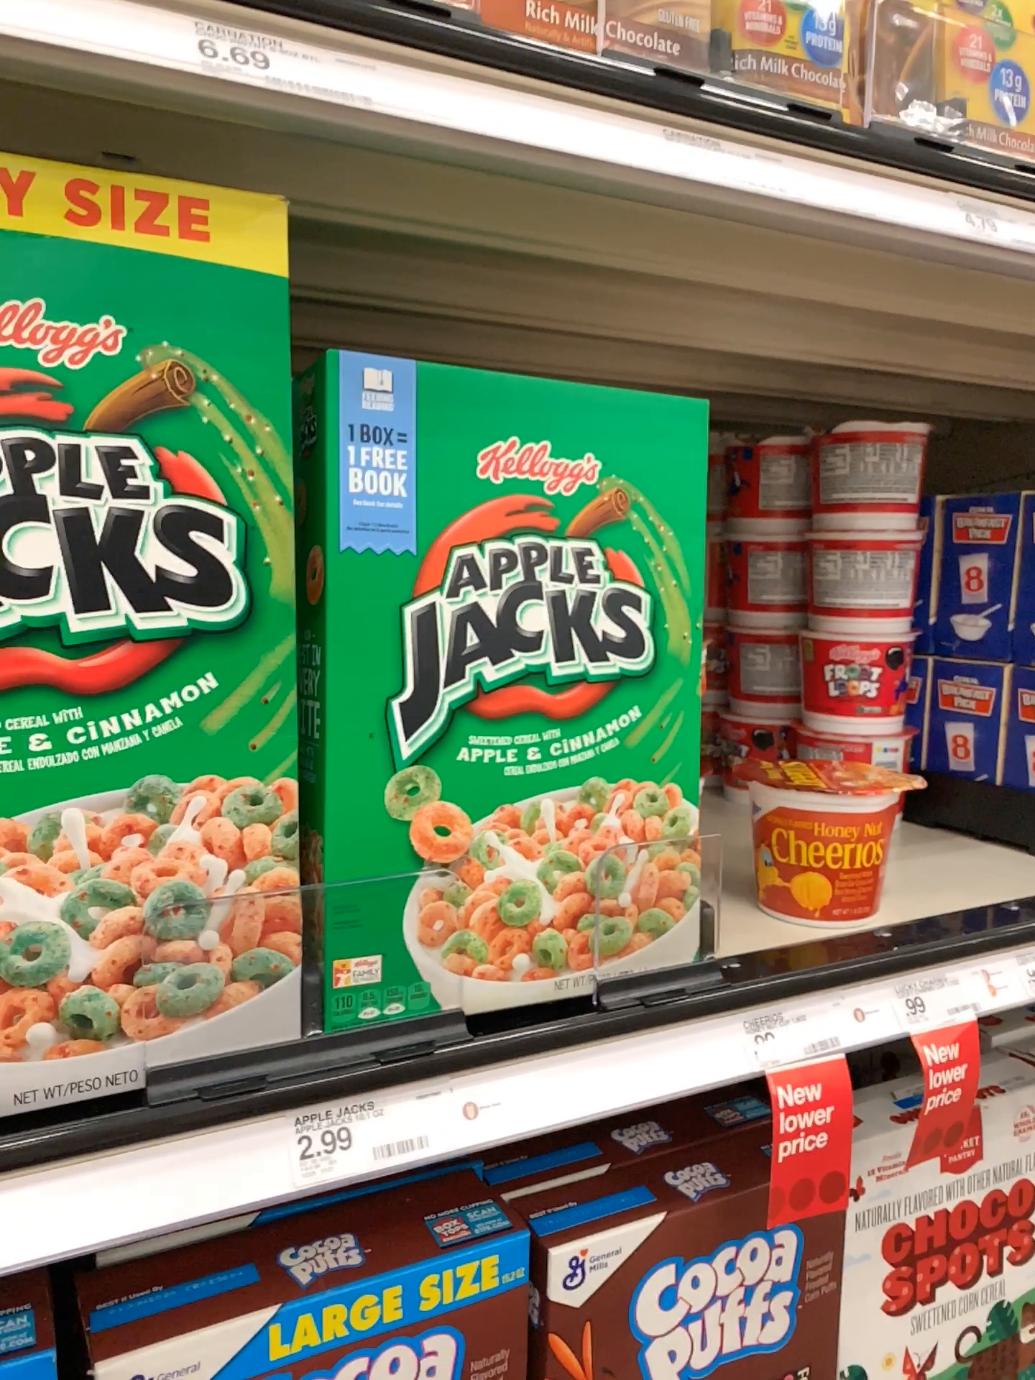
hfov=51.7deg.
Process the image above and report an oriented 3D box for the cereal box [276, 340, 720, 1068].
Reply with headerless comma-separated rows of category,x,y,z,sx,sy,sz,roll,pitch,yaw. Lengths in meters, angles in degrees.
cereal box,-0.004,0.003,0.500,0.200,0.290,0.060,-1,2,-29
